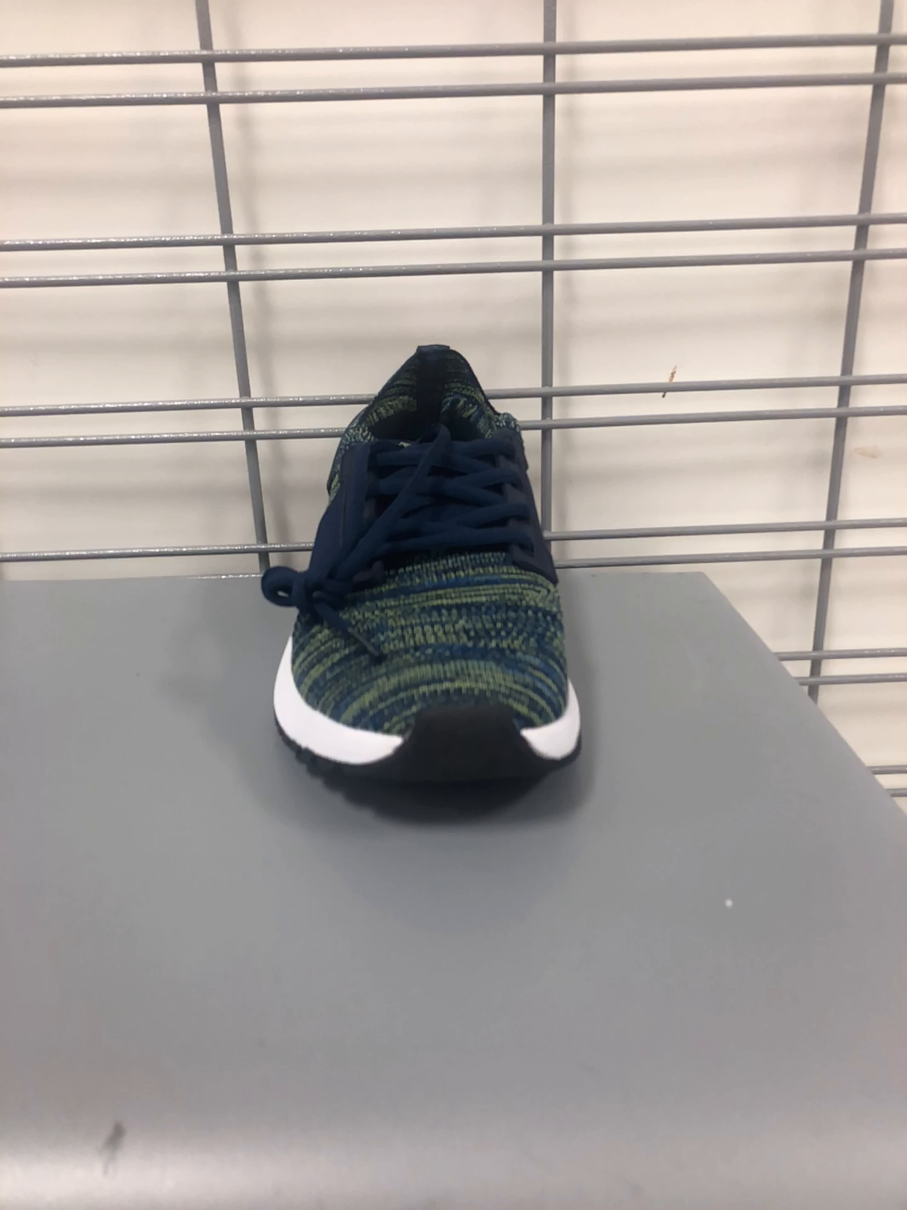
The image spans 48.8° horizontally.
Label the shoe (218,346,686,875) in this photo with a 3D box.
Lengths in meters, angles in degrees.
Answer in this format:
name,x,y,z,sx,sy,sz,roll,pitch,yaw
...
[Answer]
name,x,y,z,sx,sy,sz,roll,pitch,yaw
shoe,-0.009,-0.027,0.387,0.113,0.105,0.277,-1,22,-4
